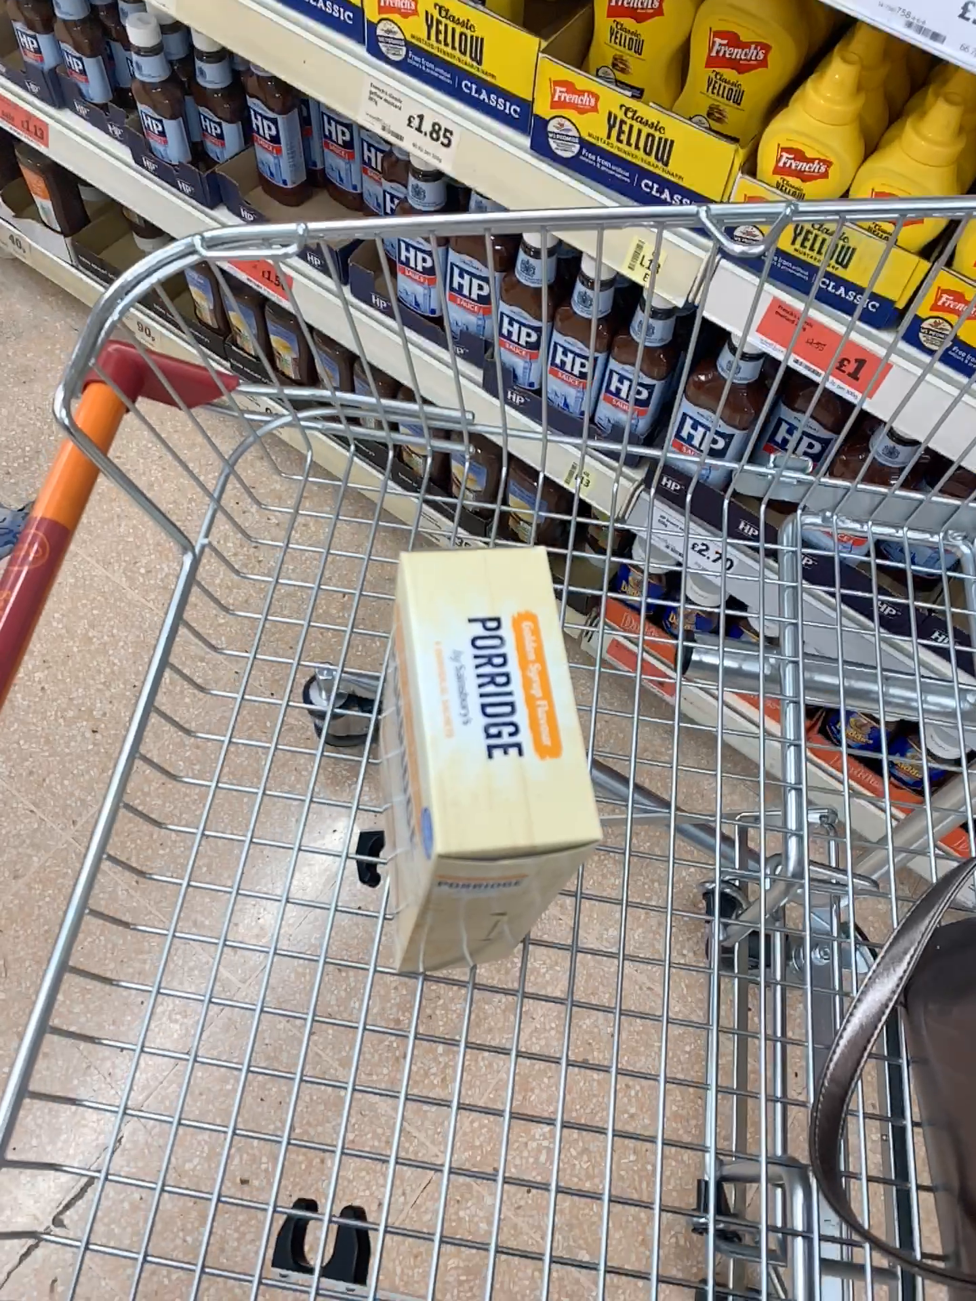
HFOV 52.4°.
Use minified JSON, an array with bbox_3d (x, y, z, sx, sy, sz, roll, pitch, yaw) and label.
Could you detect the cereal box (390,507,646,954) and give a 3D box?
[{"bbox_3d":[-0.001,0.050,0.460,0.070,0.209,0.131,-4,63,-10],"label":"cereal box"}]
